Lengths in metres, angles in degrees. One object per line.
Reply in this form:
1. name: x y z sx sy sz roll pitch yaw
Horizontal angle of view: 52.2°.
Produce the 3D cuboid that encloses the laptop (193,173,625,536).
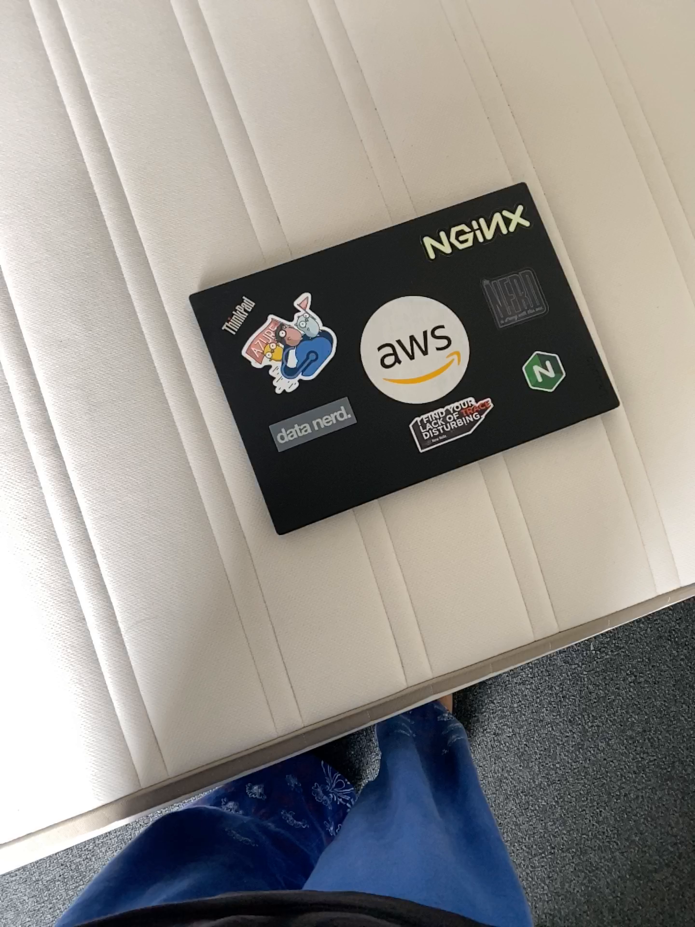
1. laptop: 0.052 -0.101 0.621 0.322 0.014 0.224 -20 81 -5
